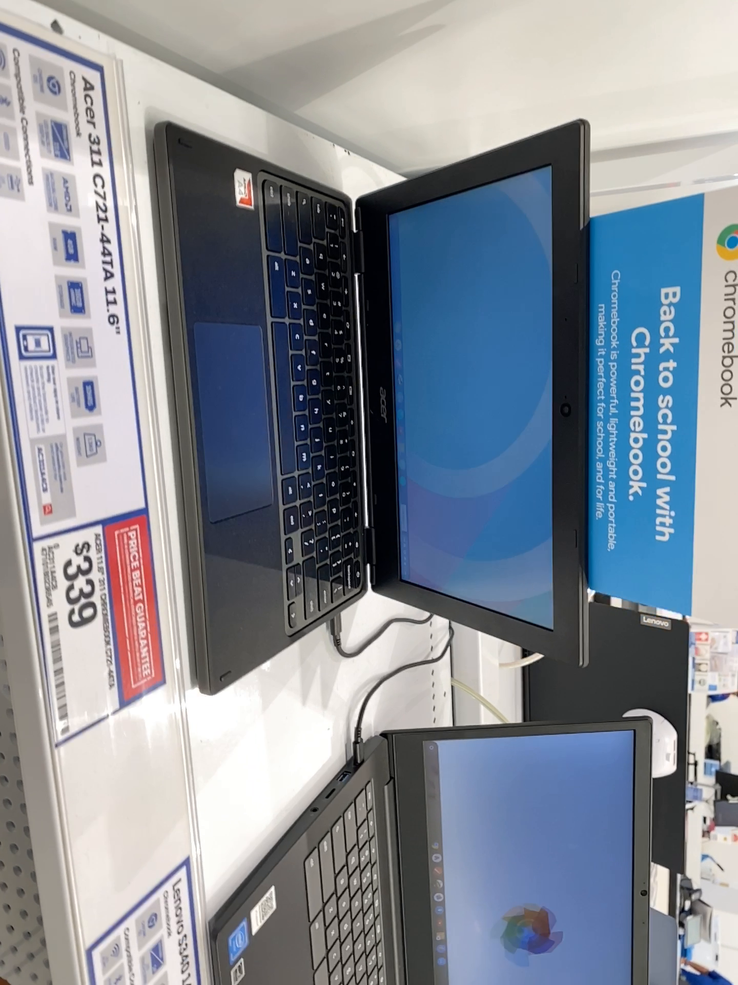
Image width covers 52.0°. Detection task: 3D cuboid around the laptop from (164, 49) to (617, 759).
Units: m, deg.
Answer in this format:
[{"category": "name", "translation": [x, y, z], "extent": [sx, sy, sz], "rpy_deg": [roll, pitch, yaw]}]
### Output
[{"category": "laptop", "translation": [0.033, -0.045, 0.438], "extent": [0.202, 0.181, 0.289], "rpy_deg": [-21, 110, -62]}]
